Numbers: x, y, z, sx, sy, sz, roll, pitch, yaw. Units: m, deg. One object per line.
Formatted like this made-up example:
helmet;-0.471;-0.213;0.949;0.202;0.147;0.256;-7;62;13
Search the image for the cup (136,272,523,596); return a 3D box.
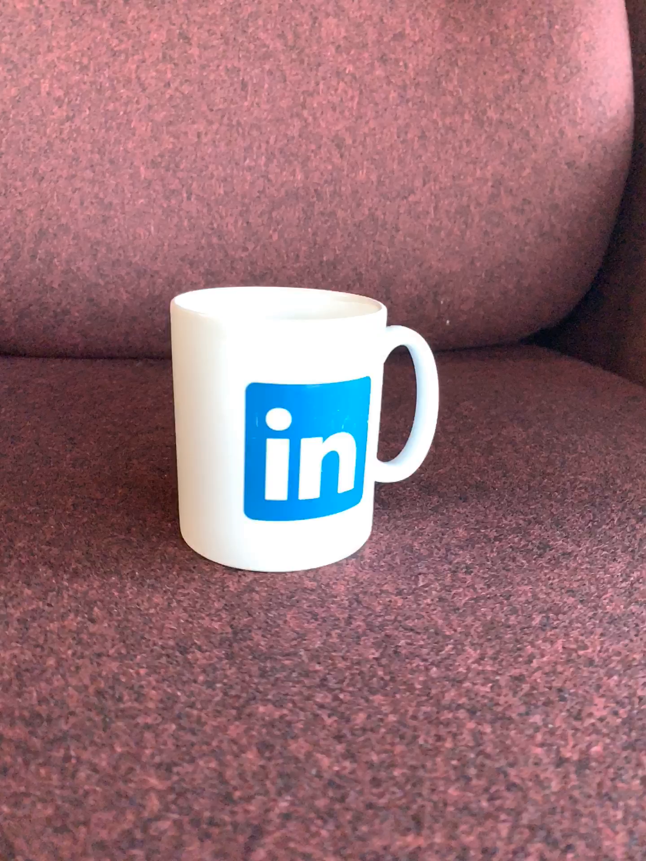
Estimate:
cup;-0.004;-0.008;0.259;0.120;0.089;0.091;-4;20;-12
